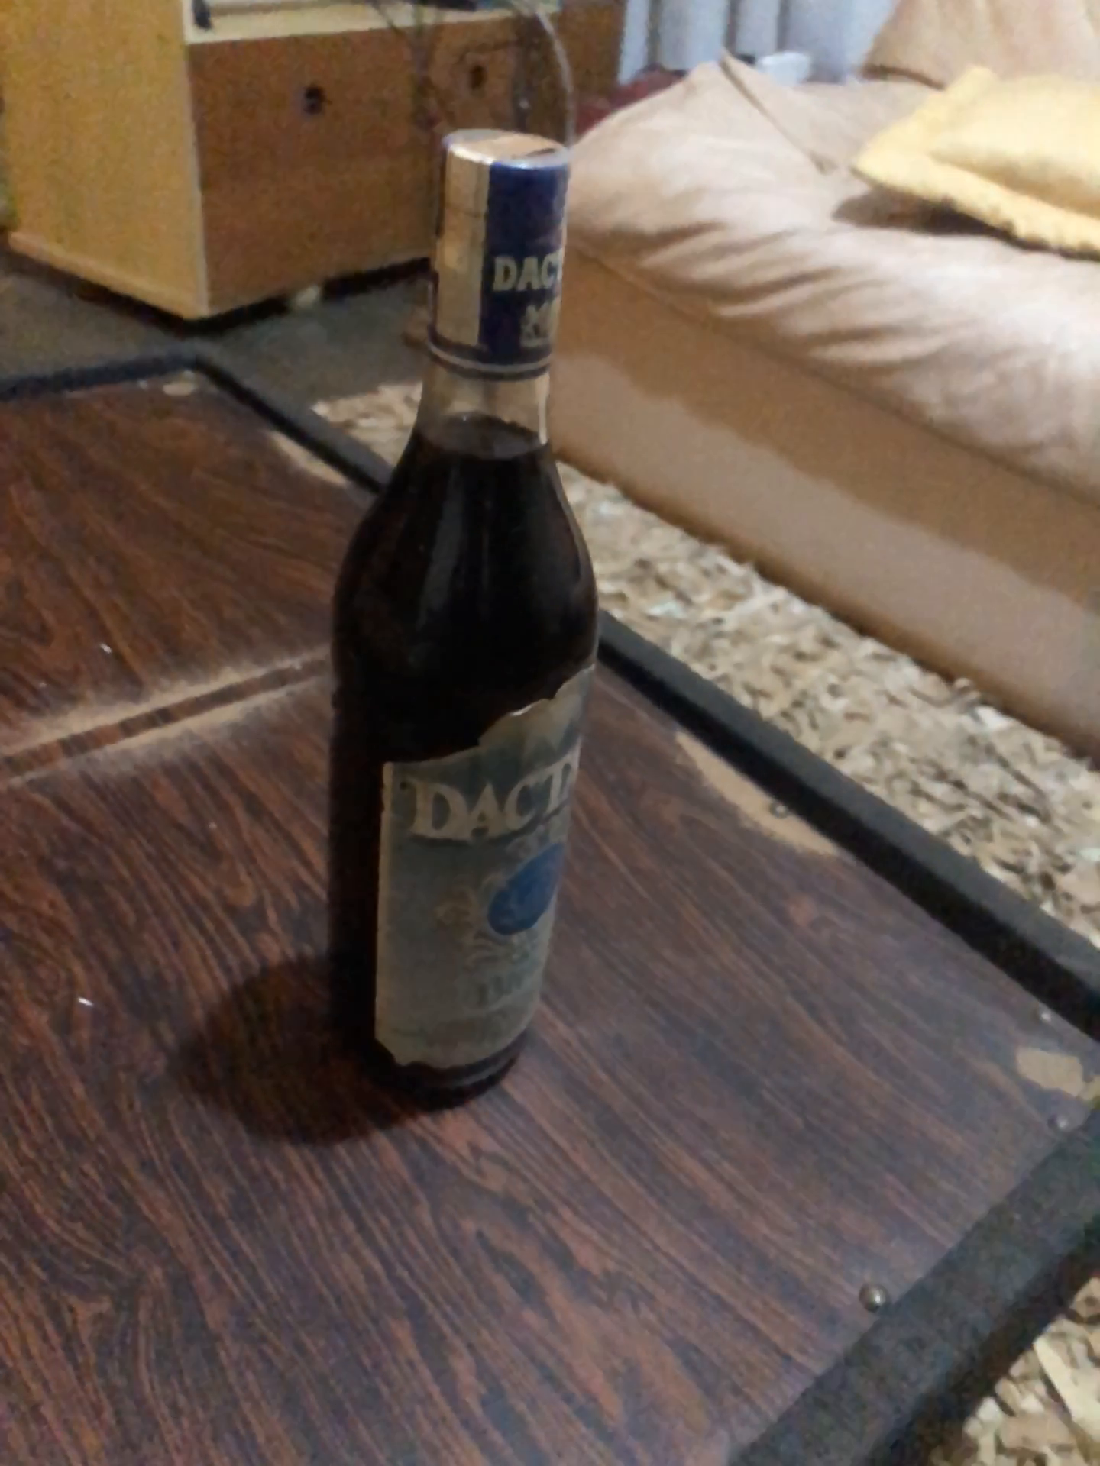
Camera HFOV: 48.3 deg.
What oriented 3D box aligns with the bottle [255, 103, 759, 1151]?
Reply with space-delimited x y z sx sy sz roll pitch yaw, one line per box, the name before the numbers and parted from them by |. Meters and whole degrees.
bottle | -0.023 -0.016 0.381 0.080 0.308 0.091 32 43 31
